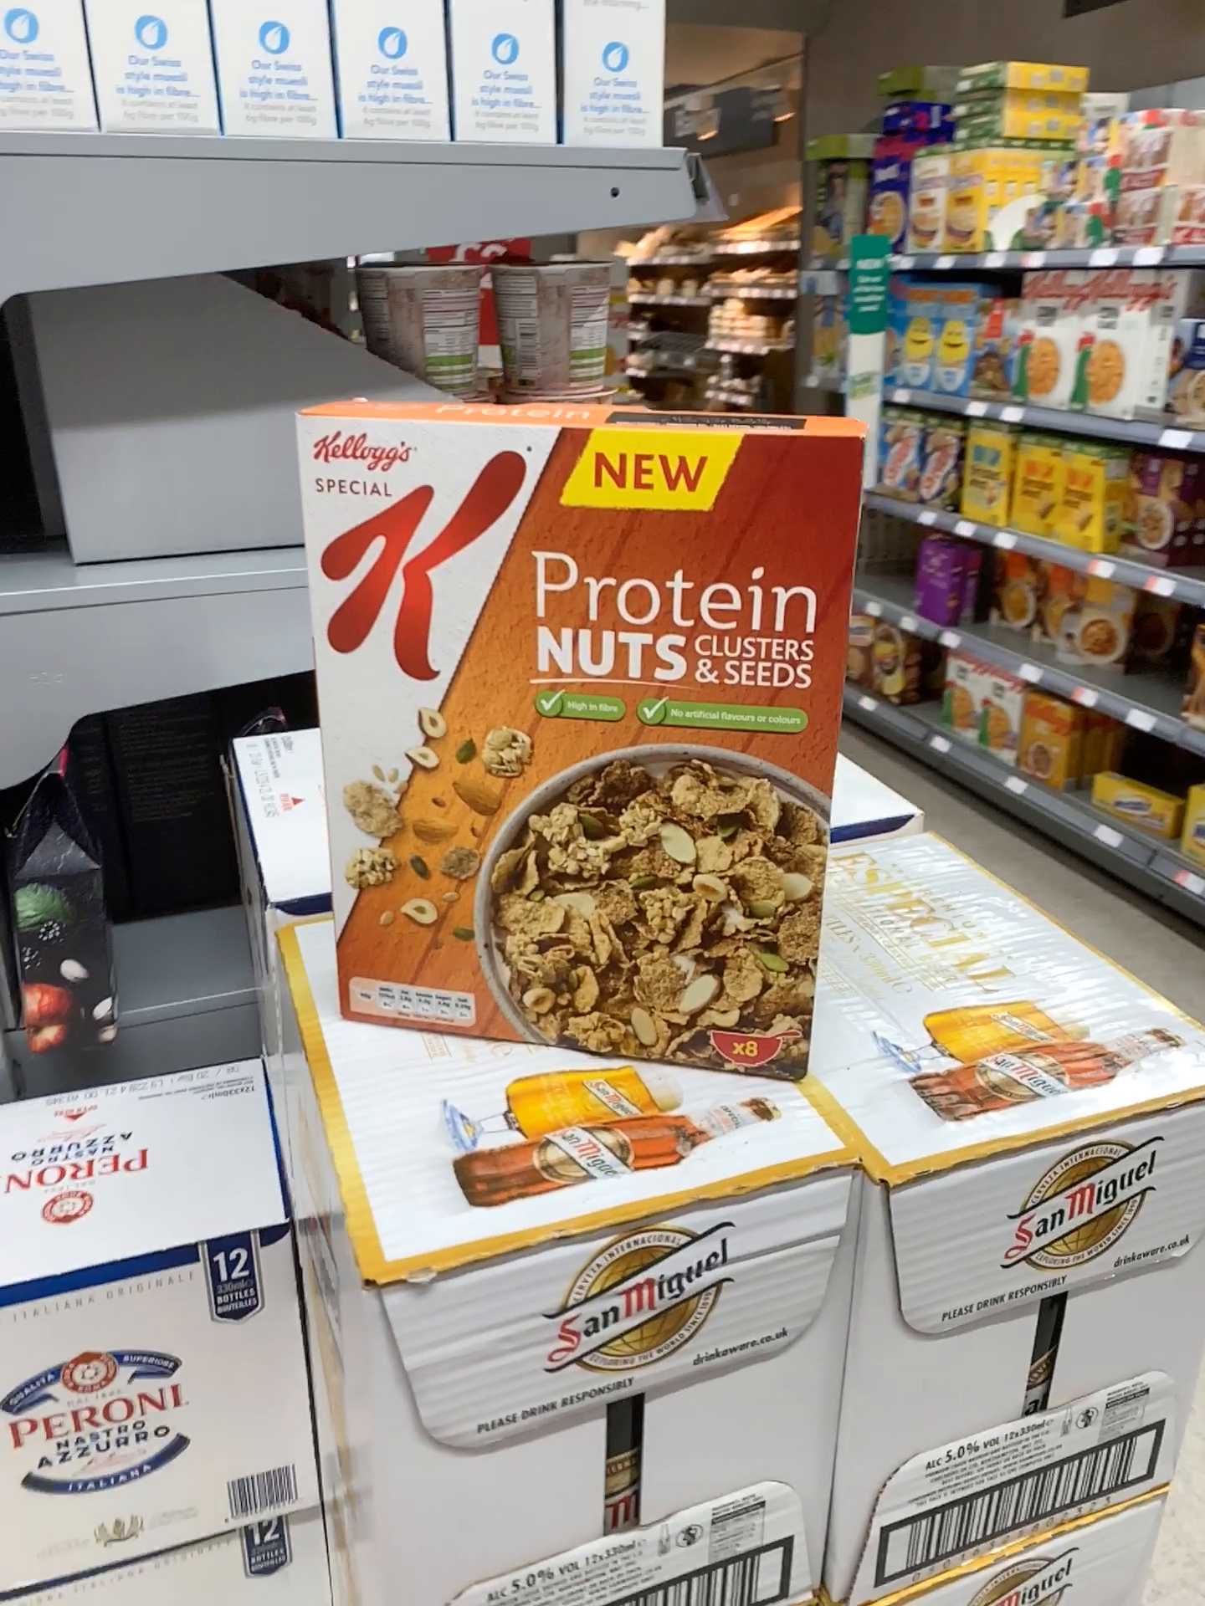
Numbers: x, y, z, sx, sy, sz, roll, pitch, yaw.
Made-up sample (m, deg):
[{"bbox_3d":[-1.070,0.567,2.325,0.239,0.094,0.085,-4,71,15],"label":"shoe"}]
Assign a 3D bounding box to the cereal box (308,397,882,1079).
[{"bbox_3d":[-0.002,-0.024,0.466,0.190,0.238,0.050,5,23,13],"label":"cereal box"}]
